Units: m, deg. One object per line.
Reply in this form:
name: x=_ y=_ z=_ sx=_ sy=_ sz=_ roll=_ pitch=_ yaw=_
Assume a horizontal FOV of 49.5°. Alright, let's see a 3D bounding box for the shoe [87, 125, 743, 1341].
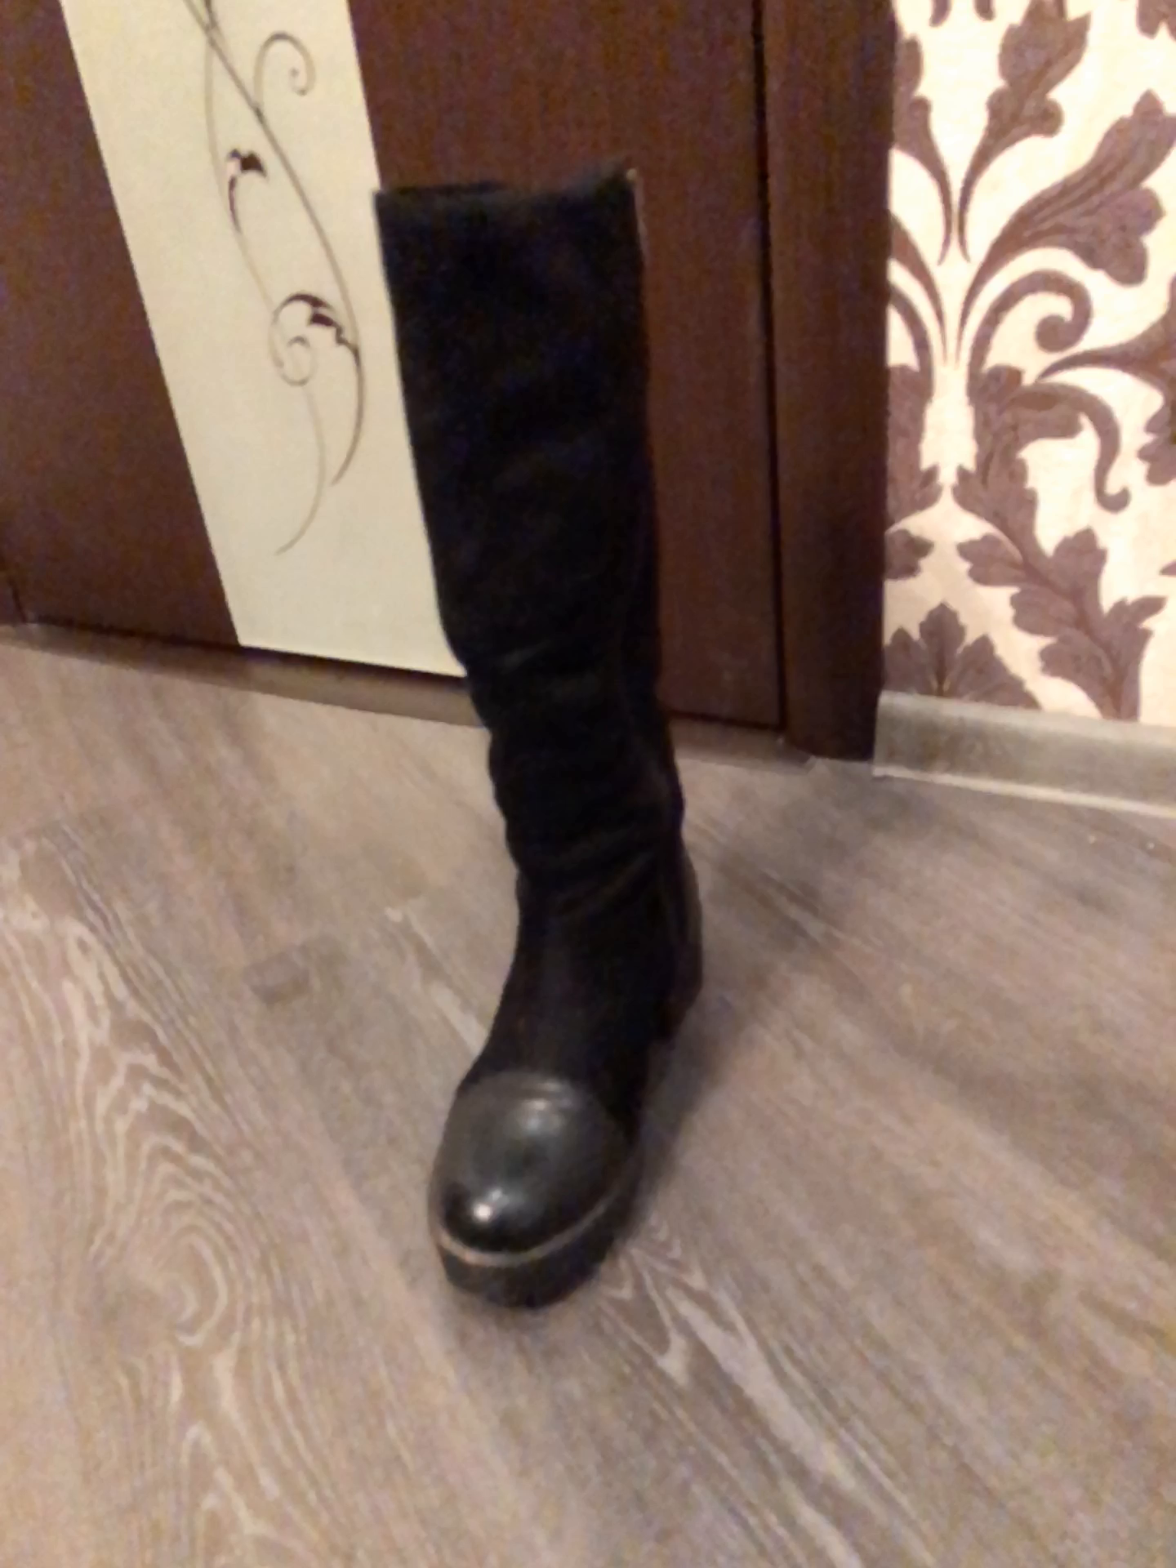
shoe: x=-0.022 y=-0.023 z=0.518 sx=0.100 sy=0.407 sz=0.252 roll=3 pitch=32 yaw=18
